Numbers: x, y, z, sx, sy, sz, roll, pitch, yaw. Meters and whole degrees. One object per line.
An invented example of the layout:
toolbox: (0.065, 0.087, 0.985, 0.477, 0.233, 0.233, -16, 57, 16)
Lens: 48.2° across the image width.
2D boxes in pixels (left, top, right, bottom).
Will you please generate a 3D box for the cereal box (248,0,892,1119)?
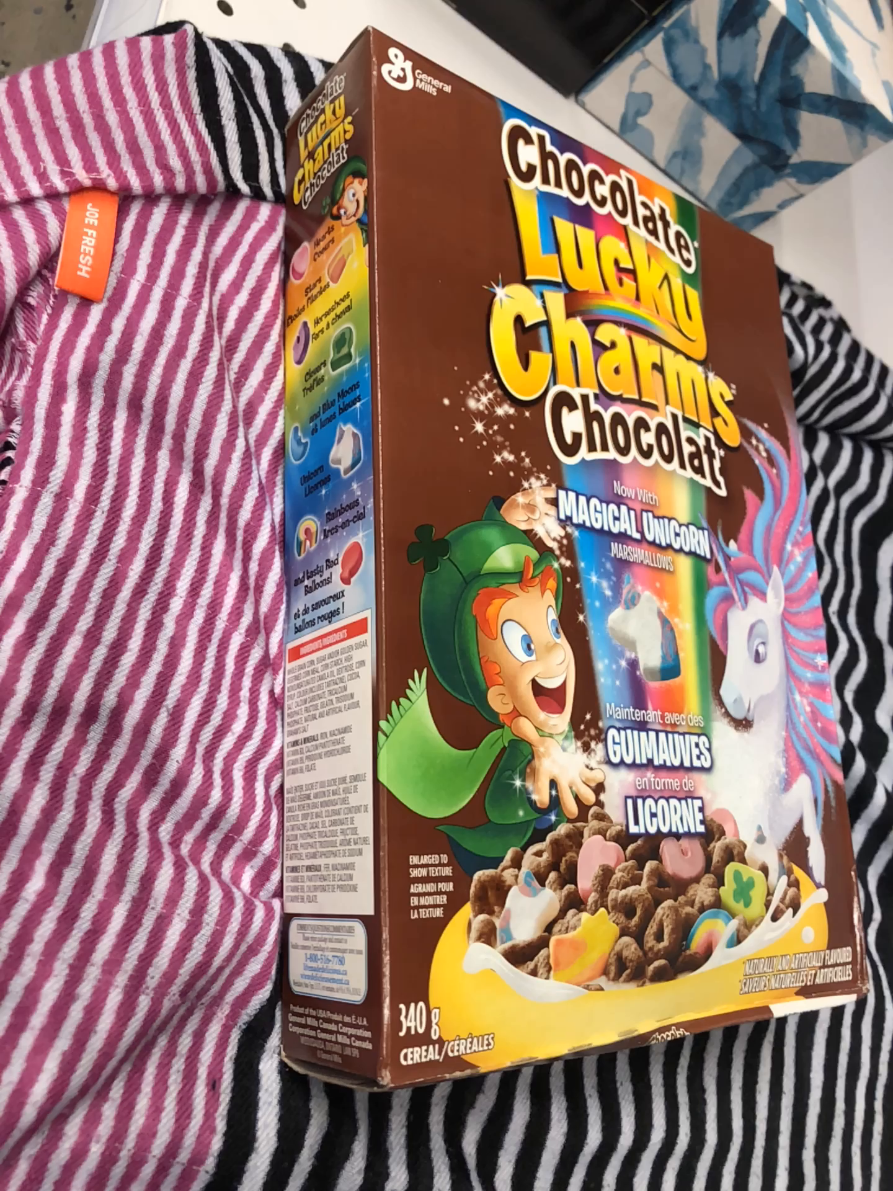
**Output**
cereal box: (0.051, -0.016, 0.321, 0.211, 0.060, 0.290, 9, 73, -36)
